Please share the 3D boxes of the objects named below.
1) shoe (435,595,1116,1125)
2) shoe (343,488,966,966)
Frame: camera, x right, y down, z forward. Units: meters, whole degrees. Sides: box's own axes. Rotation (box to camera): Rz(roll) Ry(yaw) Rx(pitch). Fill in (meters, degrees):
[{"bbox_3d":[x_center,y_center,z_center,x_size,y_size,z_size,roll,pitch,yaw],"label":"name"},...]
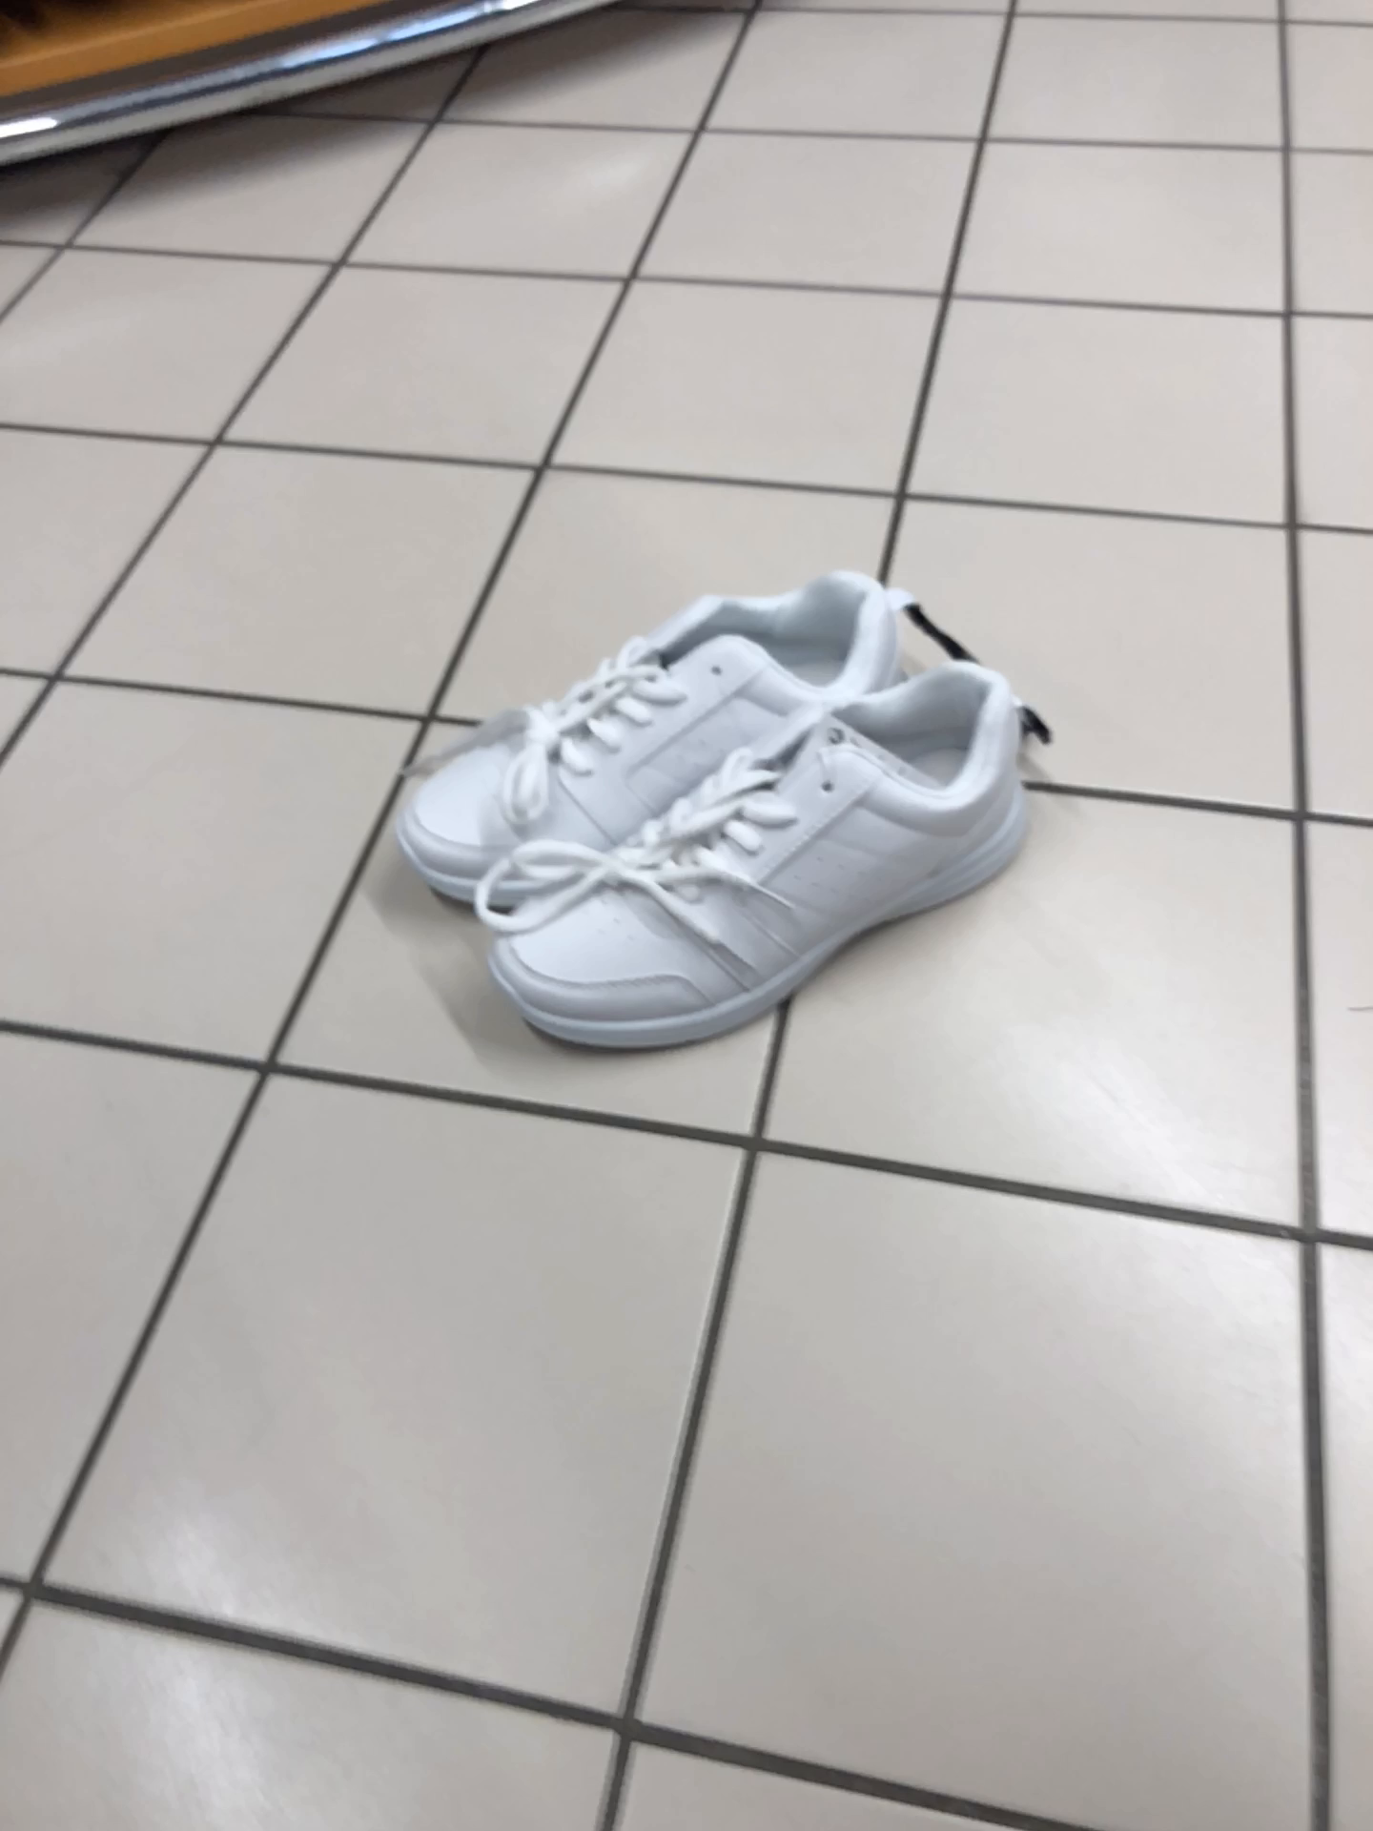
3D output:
[{"bbox_3d":[0.037,-0.025,0.602,0.240,0.090,0.090,-24,54,-14],"label":"shoe"},{"bbox_3d":[-0.010,-0.084,0.655,0.240,0.090,0.090,-24,54,-14],"label":"shoe"}]
